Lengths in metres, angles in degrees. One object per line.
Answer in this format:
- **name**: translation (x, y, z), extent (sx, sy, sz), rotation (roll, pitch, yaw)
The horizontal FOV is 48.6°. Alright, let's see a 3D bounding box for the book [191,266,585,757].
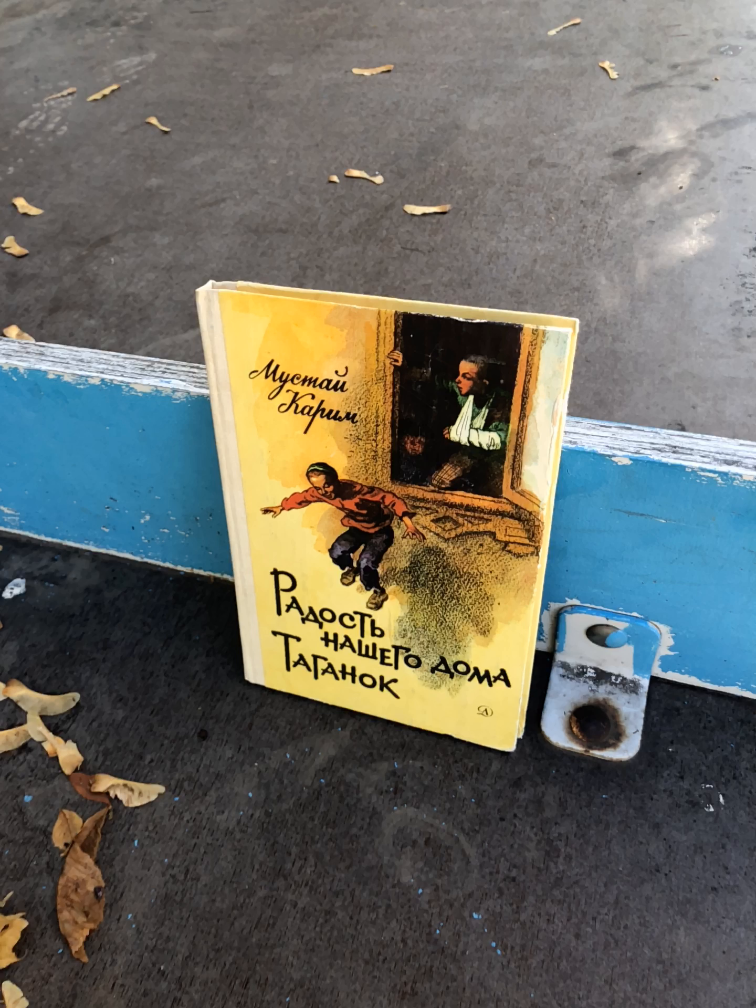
- **book**: translation (0.000, 0.011, 0.381), extent (0.155, 0.217, 0.020), rotation (11, 33, 17)
